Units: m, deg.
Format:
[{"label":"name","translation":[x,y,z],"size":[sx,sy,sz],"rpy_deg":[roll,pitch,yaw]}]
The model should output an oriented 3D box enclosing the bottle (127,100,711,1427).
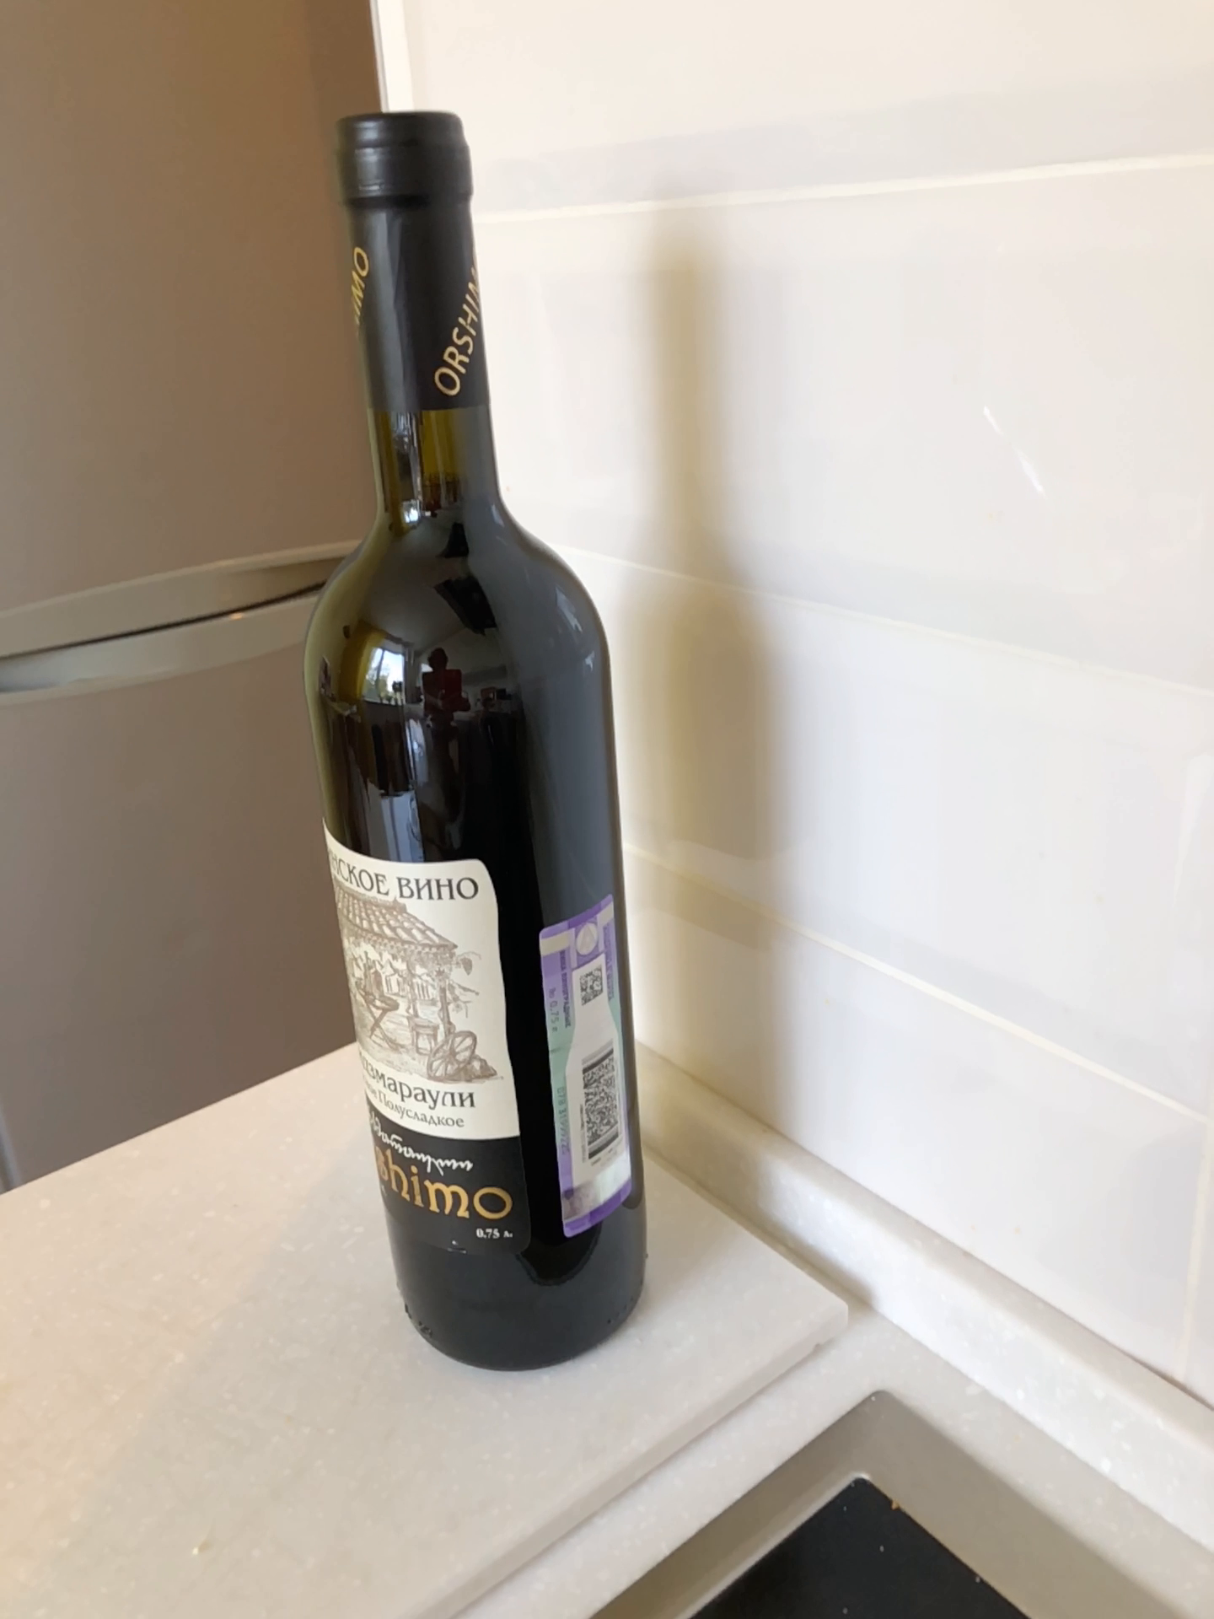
[{"label":"bottle","translation":[-0.035,-0.004,0.332],"size":[0.080,0.298,0.080],"rpy_deg":[-3,23,1]}]
